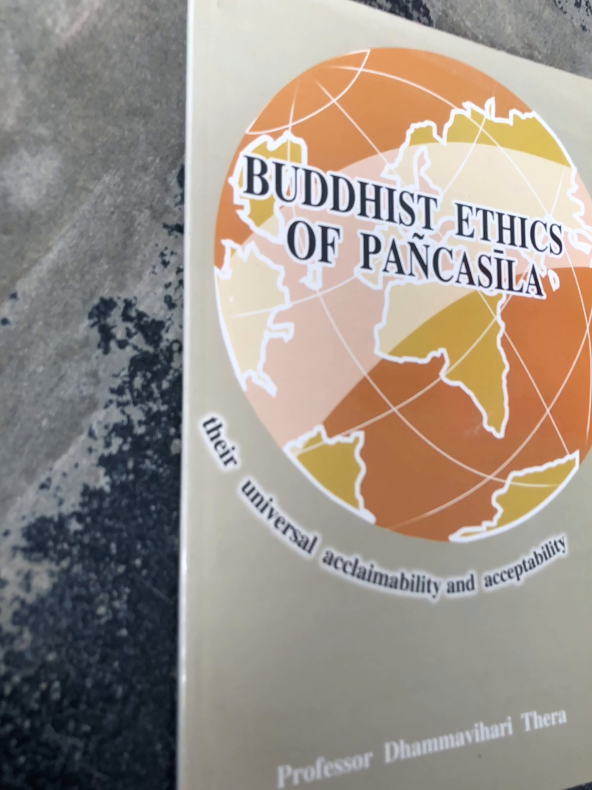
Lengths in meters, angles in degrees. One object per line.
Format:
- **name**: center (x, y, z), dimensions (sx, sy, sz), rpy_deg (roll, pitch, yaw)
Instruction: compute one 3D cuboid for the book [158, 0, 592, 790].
- **book**: center (0.034, -0.004, 0.175), dimensions (0.141, 0.010, 0.220), rpy_deg (2, 82, -27)
